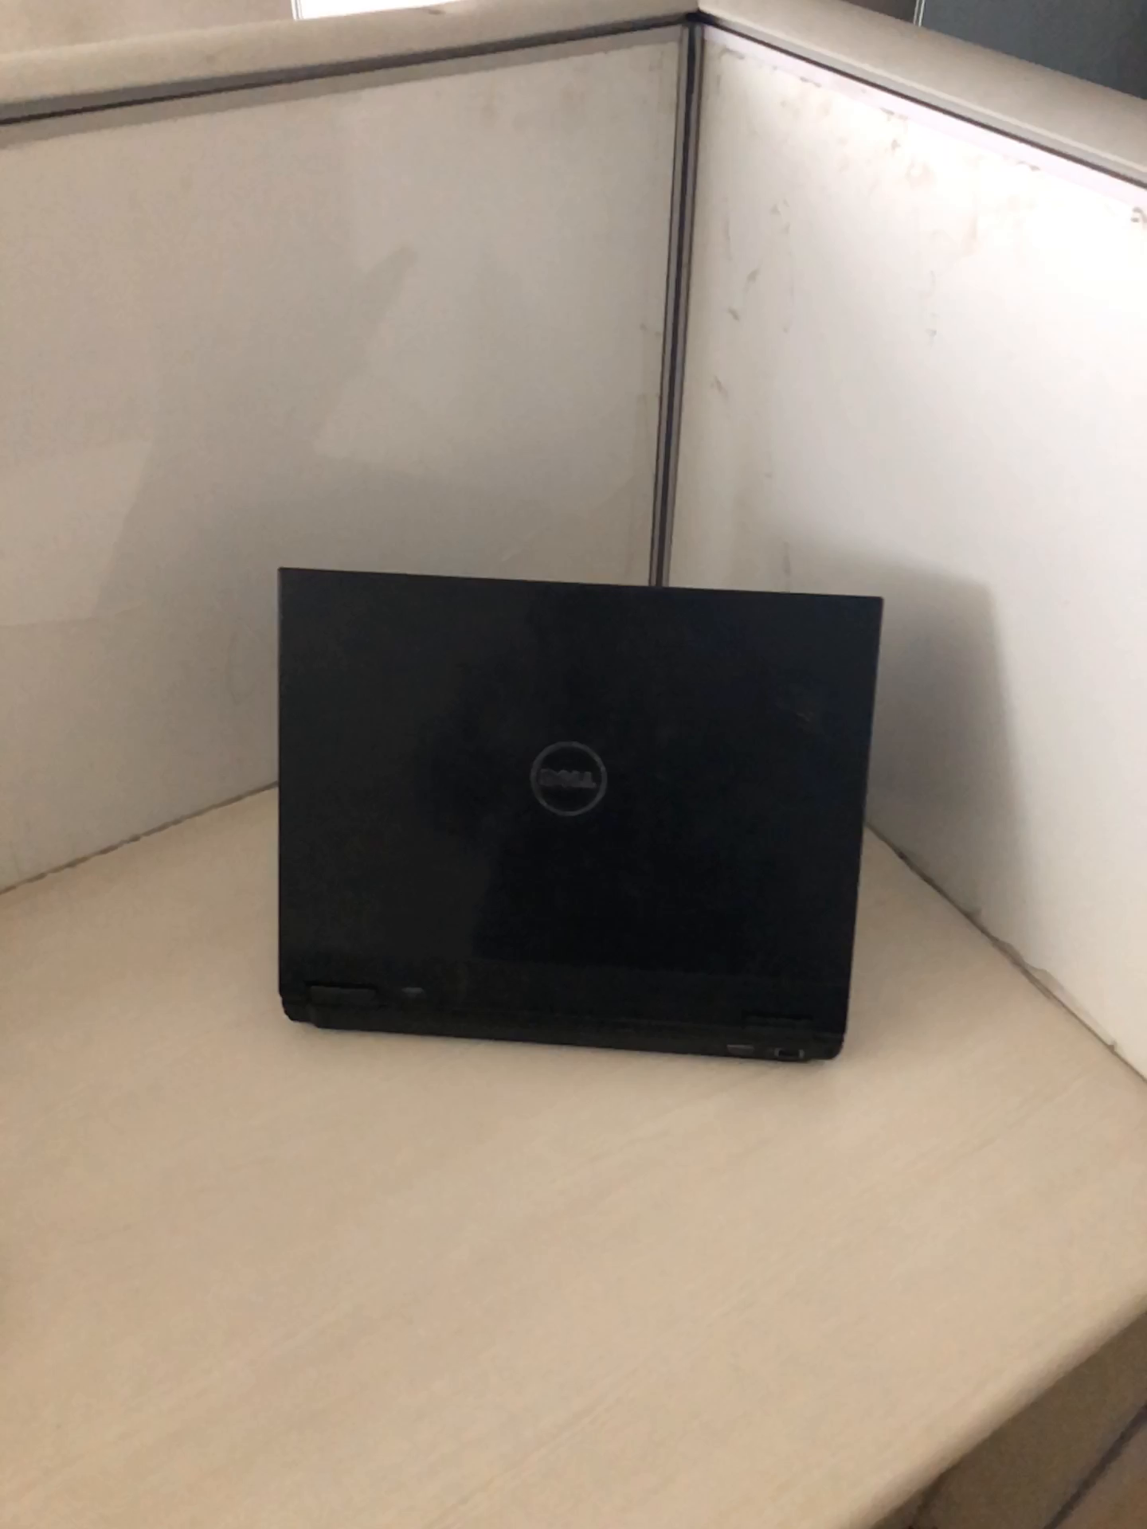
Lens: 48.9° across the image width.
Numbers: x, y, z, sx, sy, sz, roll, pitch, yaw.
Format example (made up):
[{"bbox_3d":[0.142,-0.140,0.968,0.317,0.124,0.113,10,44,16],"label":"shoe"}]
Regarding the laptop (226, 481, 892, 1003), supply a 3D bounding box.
[{"bbox_3d":[-0.001,-0.020,0.727,0.303,0.190,0.231,4,40,3],"label":"laptop"}]
